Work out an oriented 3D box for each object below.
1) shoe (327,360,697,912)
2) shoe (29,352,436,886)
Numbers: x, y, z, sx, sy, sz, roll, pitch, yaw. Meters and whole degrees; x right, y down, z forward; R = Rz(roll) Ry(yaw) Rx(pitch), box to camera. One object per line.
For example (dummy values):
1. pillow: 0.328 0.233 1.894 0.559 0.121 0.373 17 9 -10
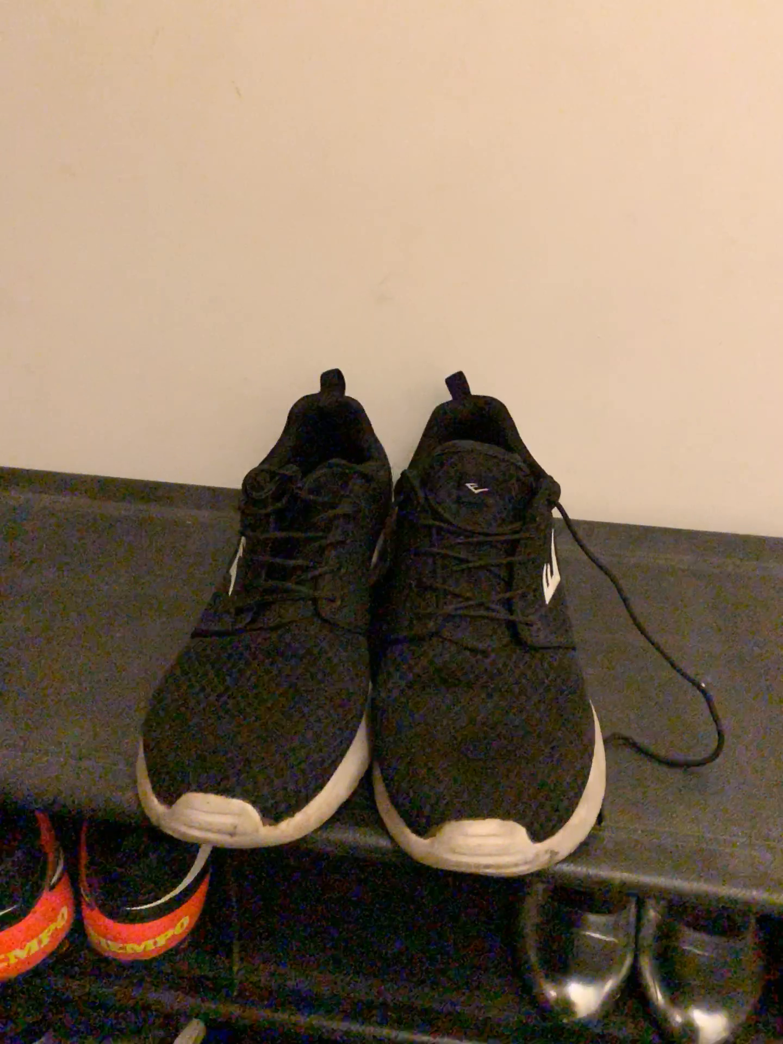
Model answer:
1. shoe: 0.055 0.023 0.416 0.120 0.099 0.303 5 33 5
2. shoe: -0.049 0.016 0.424 0.110 0.099 0.303 6 33 6
